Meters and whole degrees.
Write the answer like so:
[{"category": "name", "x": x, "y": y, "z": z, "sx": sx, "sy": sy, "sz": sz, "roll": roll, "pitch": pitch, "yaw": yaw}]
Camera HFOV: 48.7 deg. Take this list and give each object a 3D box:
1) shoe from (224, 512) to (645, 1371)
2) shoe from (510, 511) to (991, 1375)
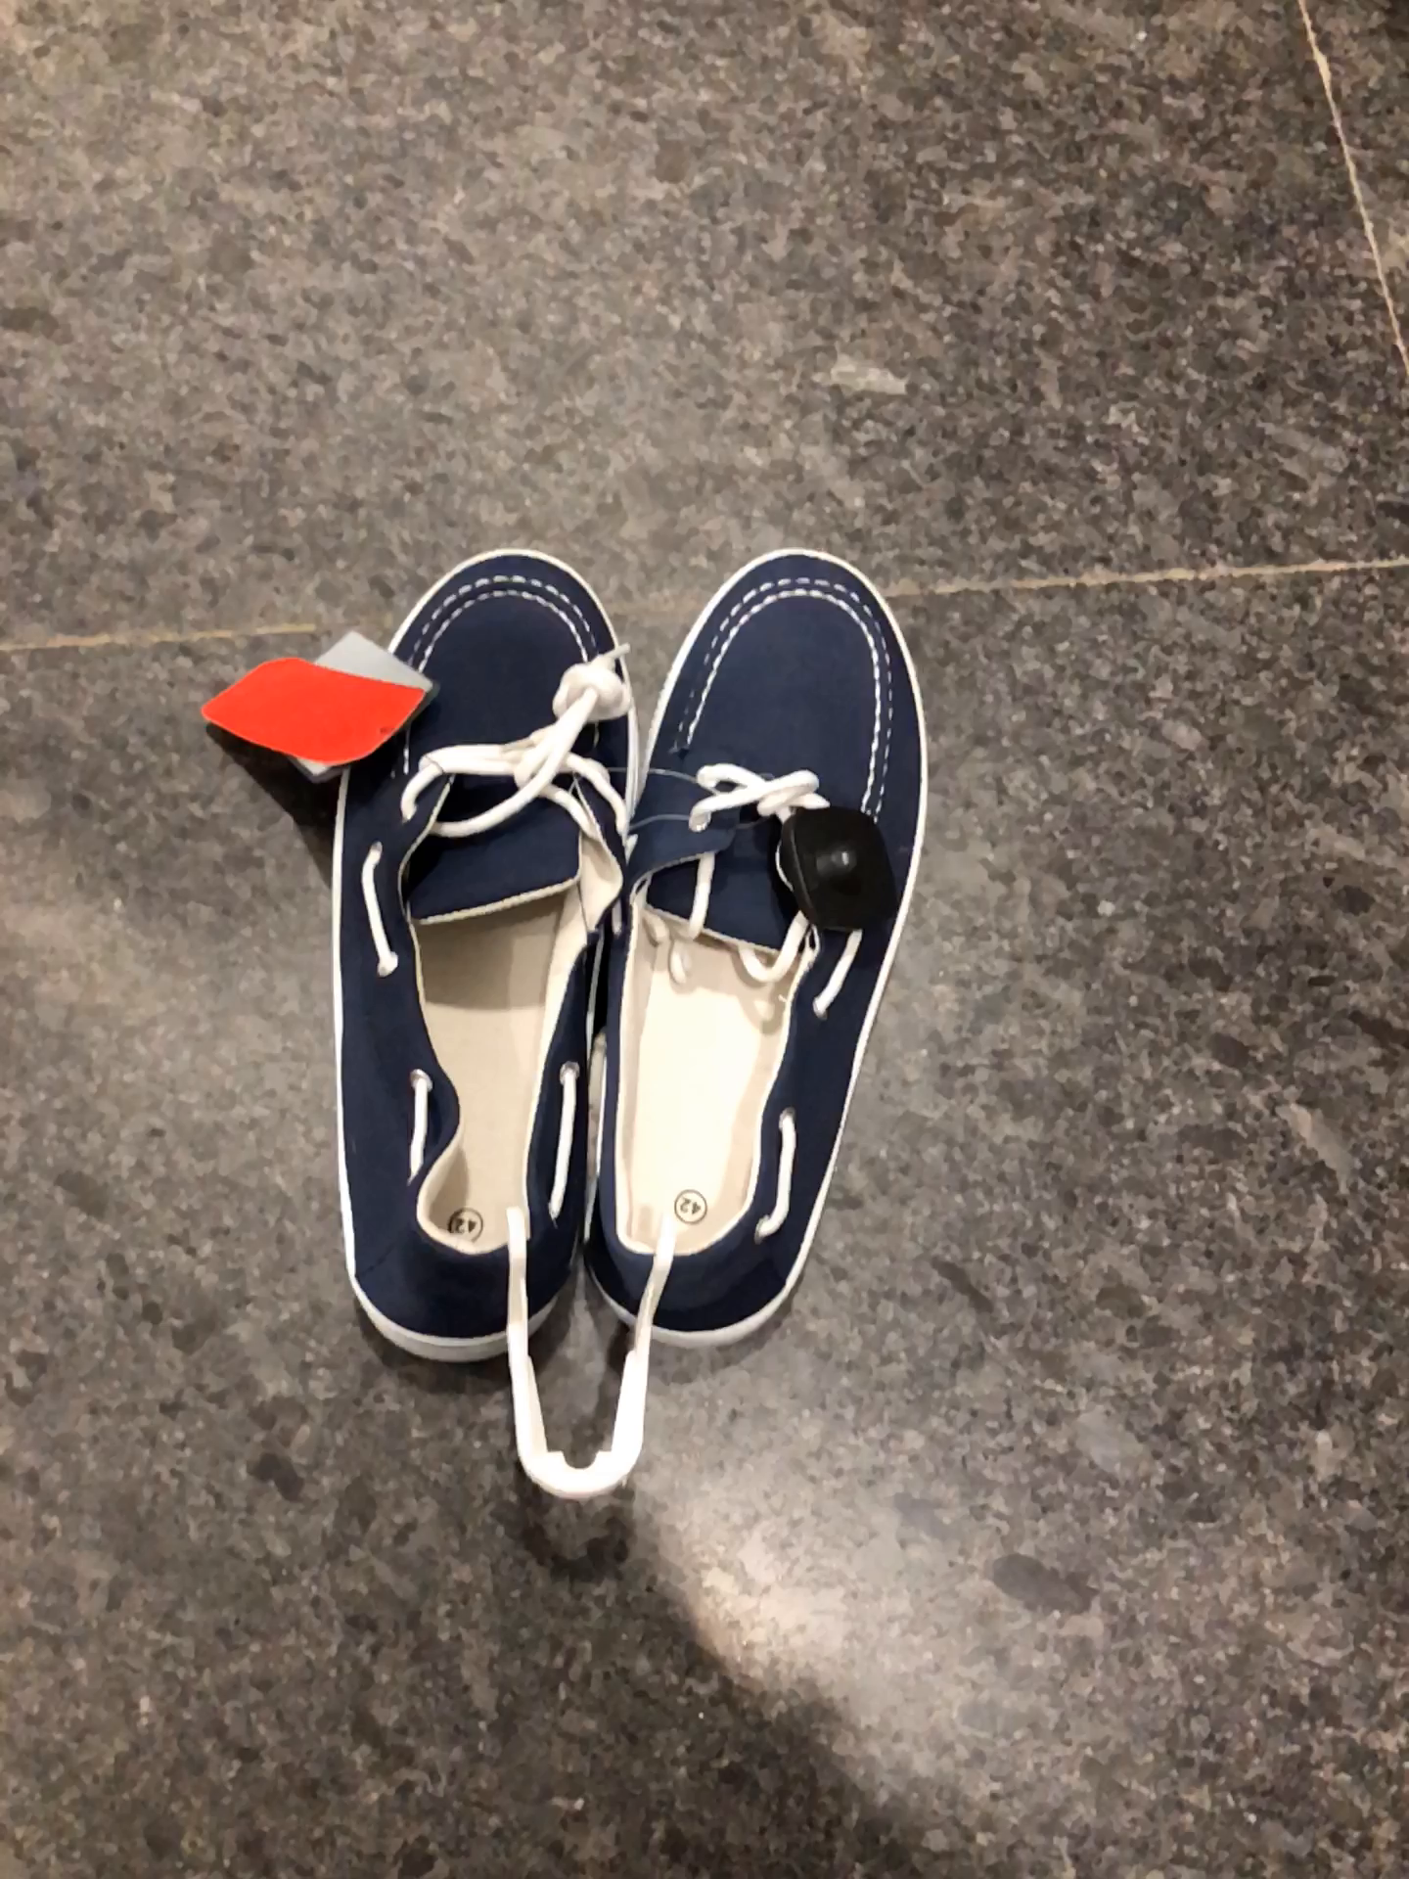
[{"category": "shoe", "x": -0.077, "y": 0.005, "z": 0.502, "sx": 0.096, "sy": 0.115, "sz": 0.249, "roll": 4, "pitch": 71, "yaw": -4}, {"category": "shoe", "x": 0.015, "y": 0.005, "z": 0.513, "sx": 0.096, "sy": 0.115, "sz": 0.247, "roll": 13, "pitch": 71, "yaw": -1}]
